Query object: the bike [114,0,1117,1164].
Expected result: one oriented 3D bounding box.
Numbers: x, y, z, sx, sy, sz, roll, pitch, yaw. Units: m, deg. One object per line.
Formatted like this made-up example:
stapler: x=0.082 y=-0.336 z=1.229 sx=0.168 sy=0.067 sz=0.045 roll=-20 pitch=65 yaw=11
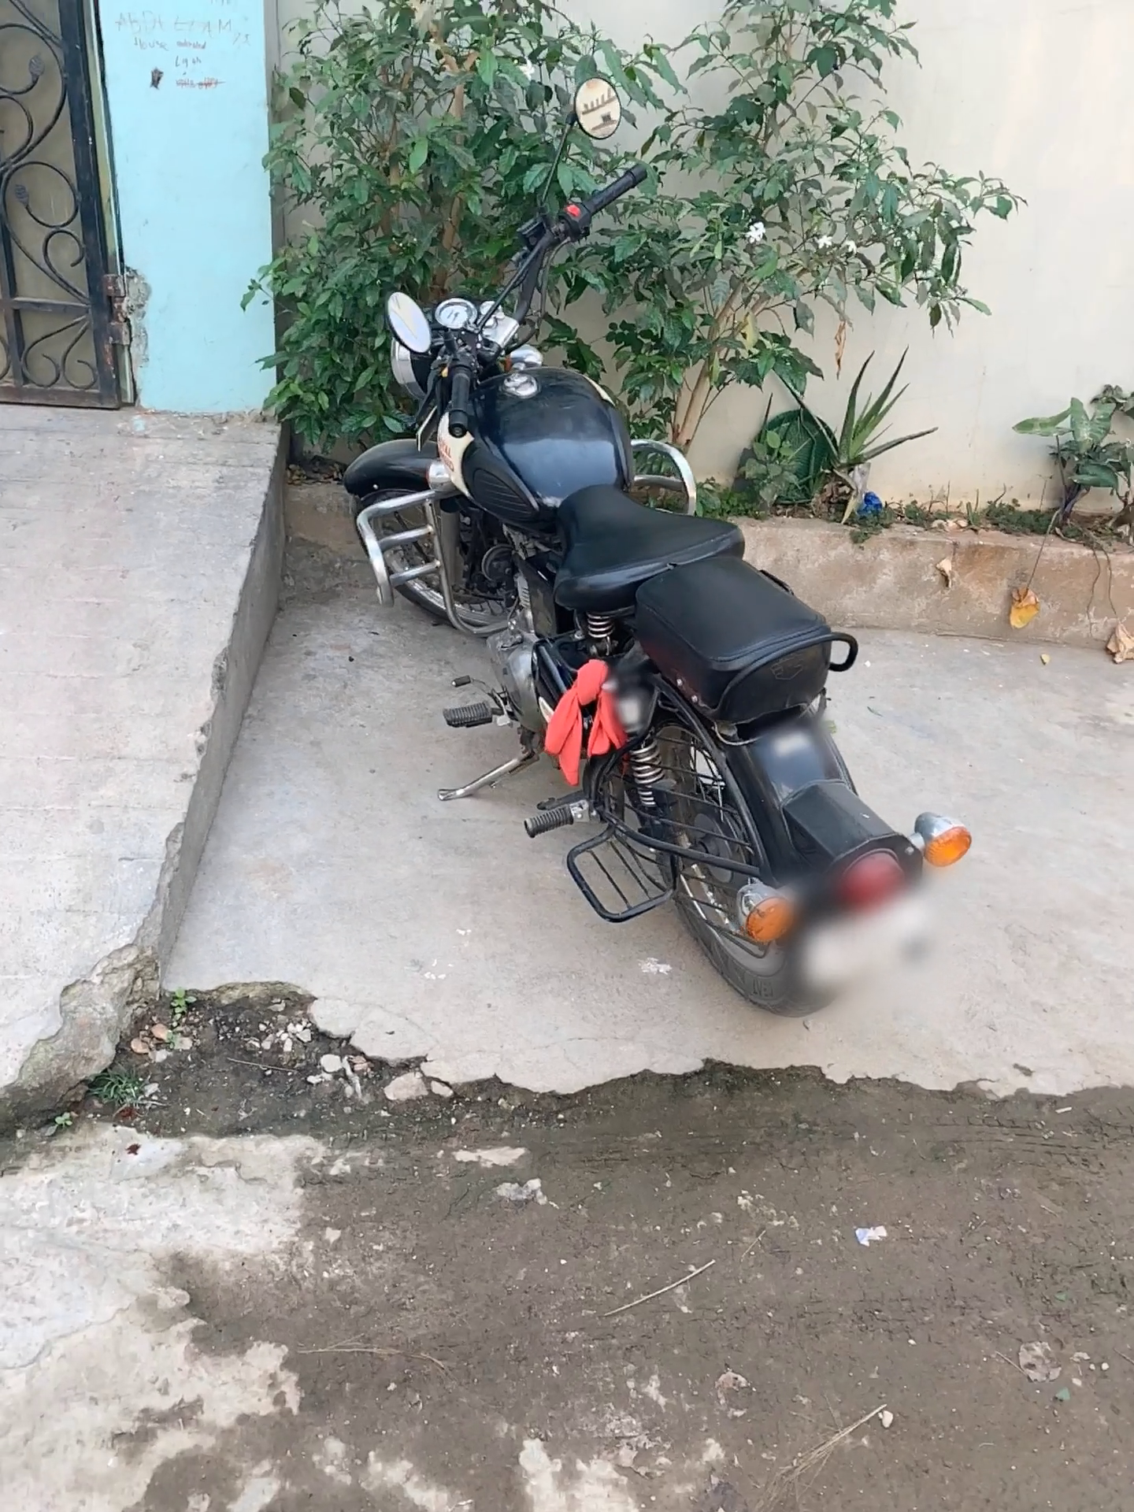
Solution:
bike: x=-0.131 y=-0.550 z=2.205 sx=0.747 sy=1.339 sz=1.793 roll=-14 pitch=39 yaw=-31
